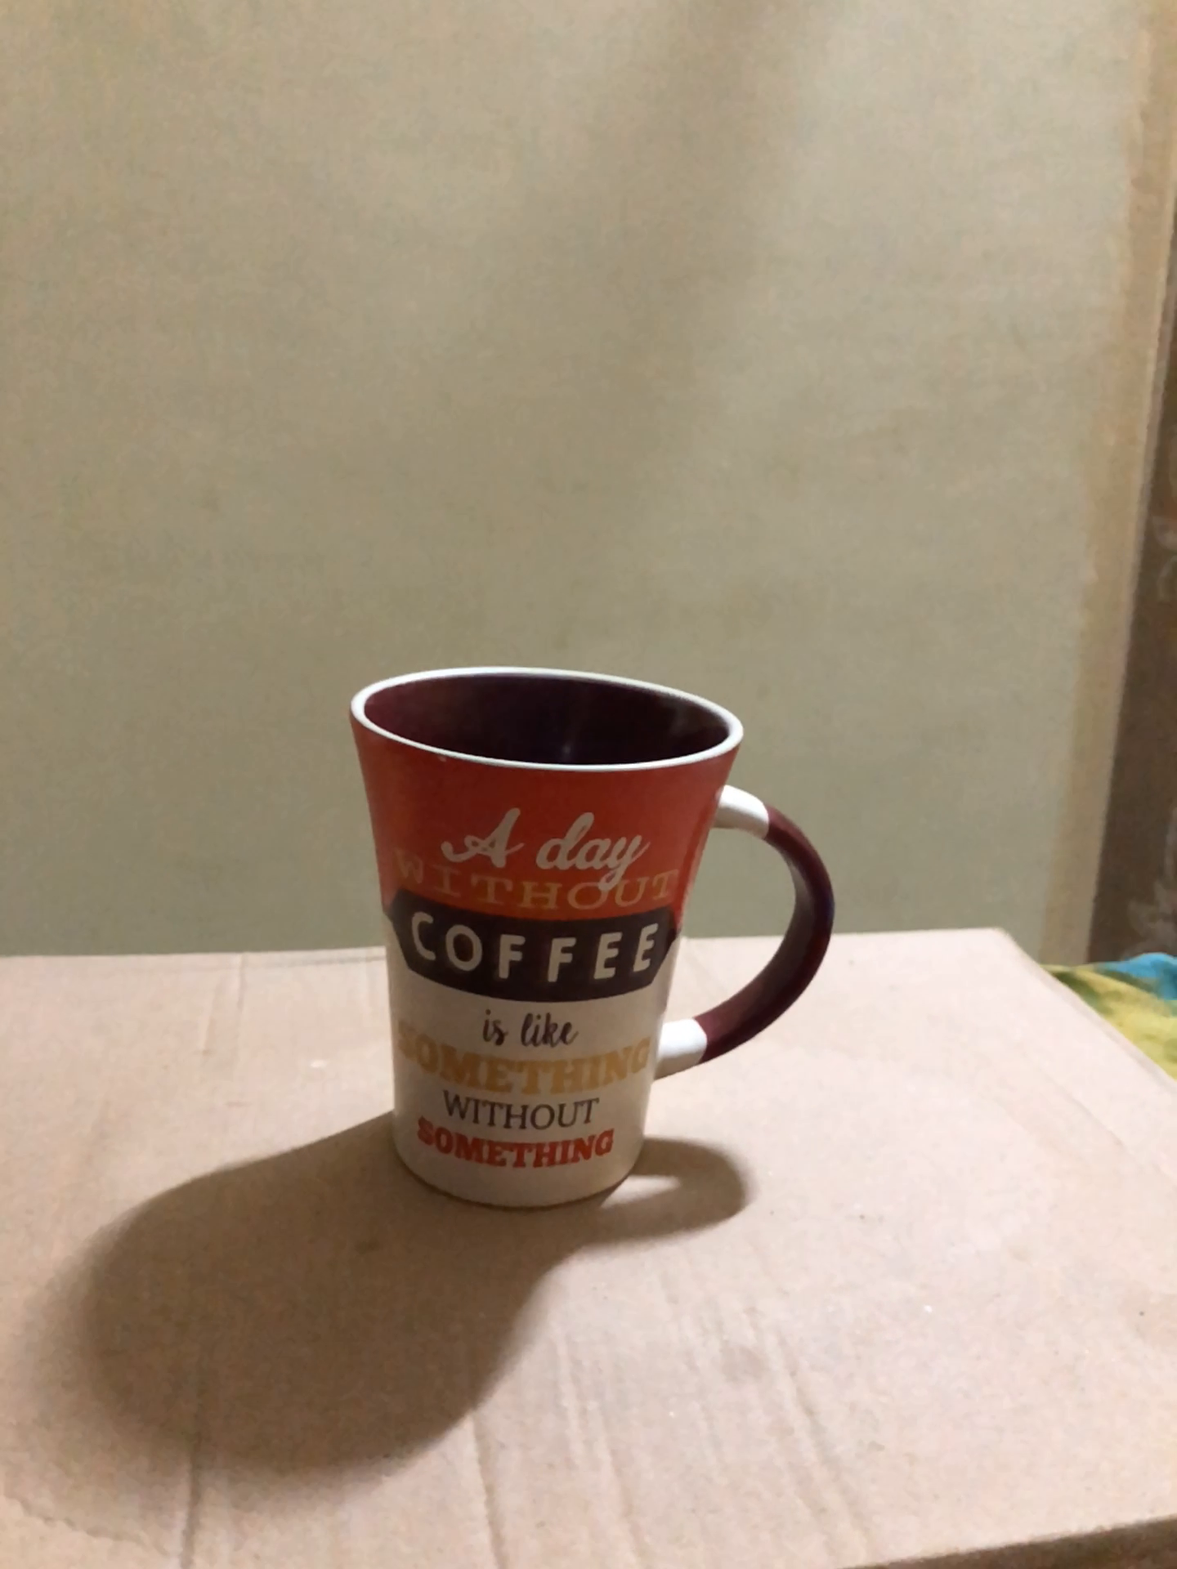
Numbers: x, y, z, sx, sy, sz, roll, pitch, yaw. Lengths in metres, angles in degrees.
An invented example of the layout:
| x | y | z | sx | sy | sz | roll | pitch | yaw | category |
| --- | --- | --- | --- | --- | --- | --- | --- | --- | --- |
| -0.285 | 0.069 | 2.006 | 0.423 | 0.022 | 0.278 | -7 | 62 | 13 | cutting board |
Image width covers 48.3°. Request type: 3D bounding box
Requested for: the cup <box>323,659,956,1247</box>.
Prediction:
| x | y | z | sx | sy | sz | roll | pitch | yaw | category |
| --- | --- | --- | --- | --- | --- | --- | --- | --- | --- |
| 0.004 | 0.032 | 0.325 | 0.130 | 0.110 | 0.100 | -1 | 14 | -9 | cup |
